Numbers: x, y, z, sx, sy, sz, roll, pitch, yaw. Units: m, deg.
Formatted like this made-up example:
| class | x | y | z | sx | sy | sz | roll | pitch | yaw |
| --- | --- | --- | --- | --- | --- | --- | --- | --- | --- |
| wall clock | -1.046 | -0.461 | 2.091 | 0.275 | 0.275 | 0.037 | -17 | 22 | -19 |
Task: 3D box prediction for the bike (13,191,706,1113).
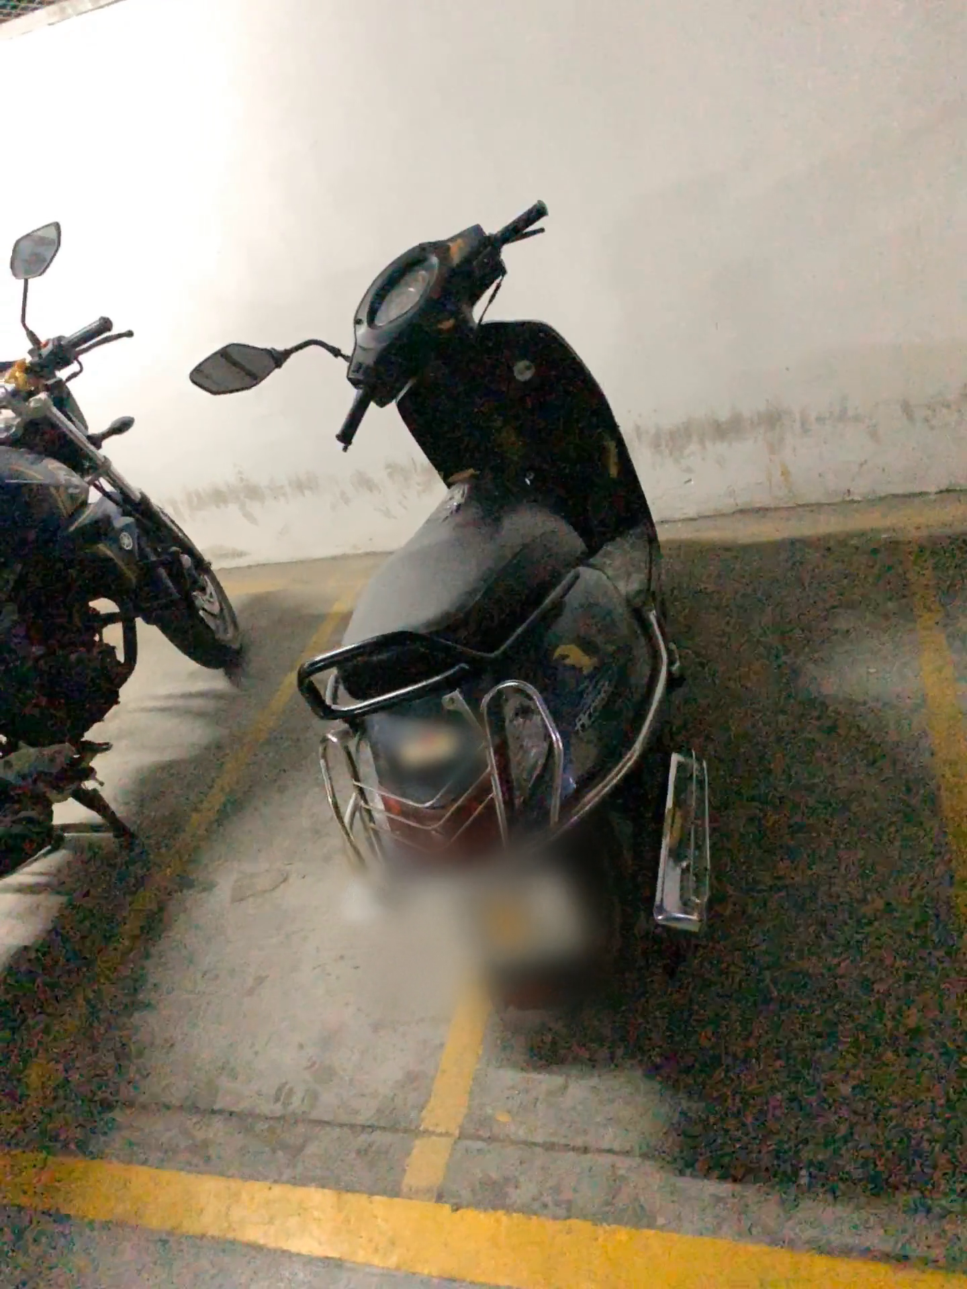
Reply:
| class | x | y | z | sx | sy | sz | roll | pitch | yaw |
| --- | --- | --- | --- | --- | --- | --- | --- | --- | --- |
| bike | -0.023 | -0.105 | 2.076 | 0.653 | 1.239 | 1.538 | -10 | 31 | 12 |
